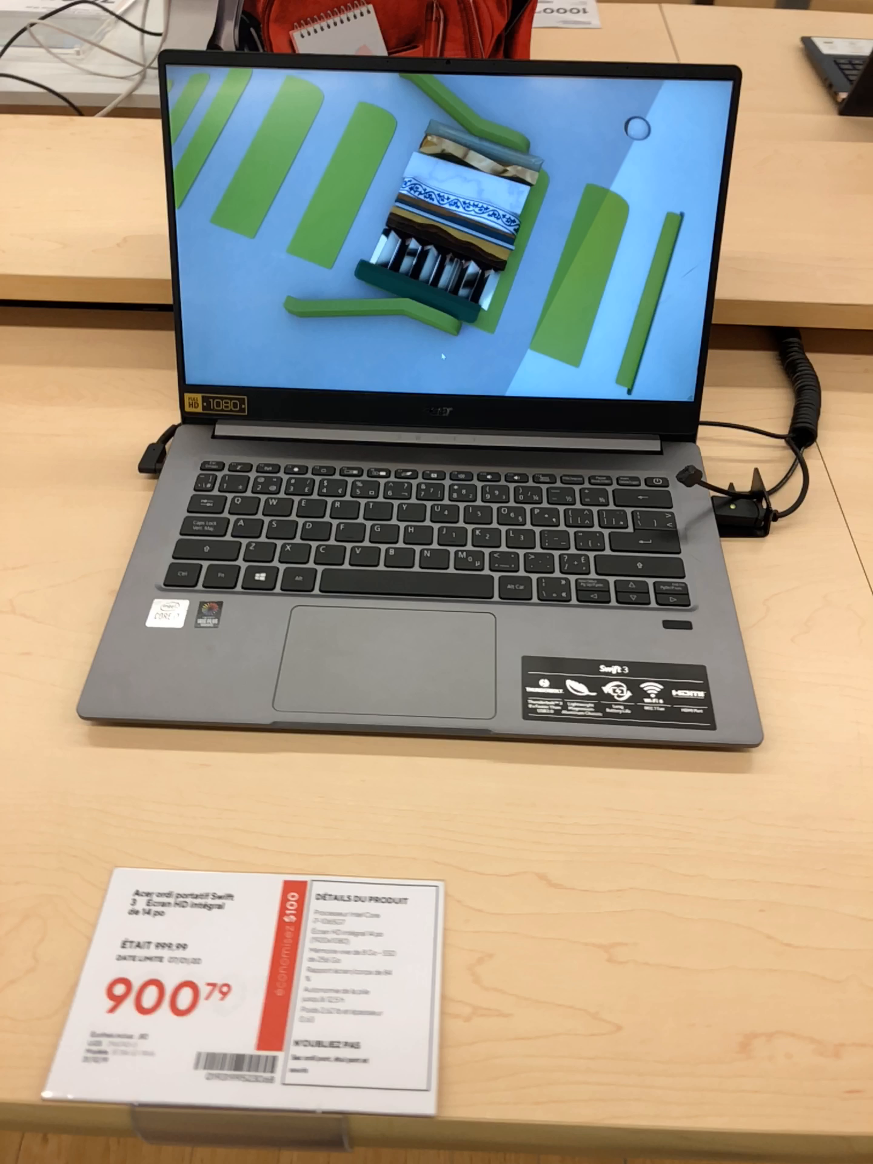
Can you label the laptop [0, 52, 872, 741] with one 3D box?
[{"bbox_3d":[0.000,-0.108,0.485,0.315,0.177,0.312,2,47,0],"label":"laptop"}]
